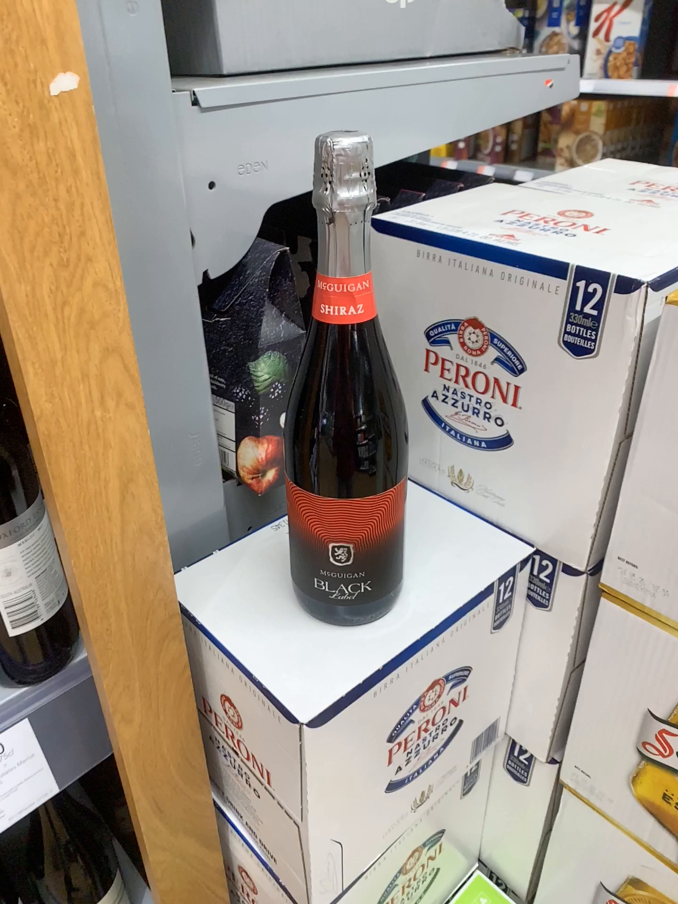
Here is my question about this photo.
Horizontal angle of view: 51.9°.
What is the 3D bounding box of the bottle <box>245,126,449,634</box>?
[{"bbox_3d":[0.009,-0.032,0.421,0.090,0.289,0.095,-1,30,1],"label":"bottle"}]
